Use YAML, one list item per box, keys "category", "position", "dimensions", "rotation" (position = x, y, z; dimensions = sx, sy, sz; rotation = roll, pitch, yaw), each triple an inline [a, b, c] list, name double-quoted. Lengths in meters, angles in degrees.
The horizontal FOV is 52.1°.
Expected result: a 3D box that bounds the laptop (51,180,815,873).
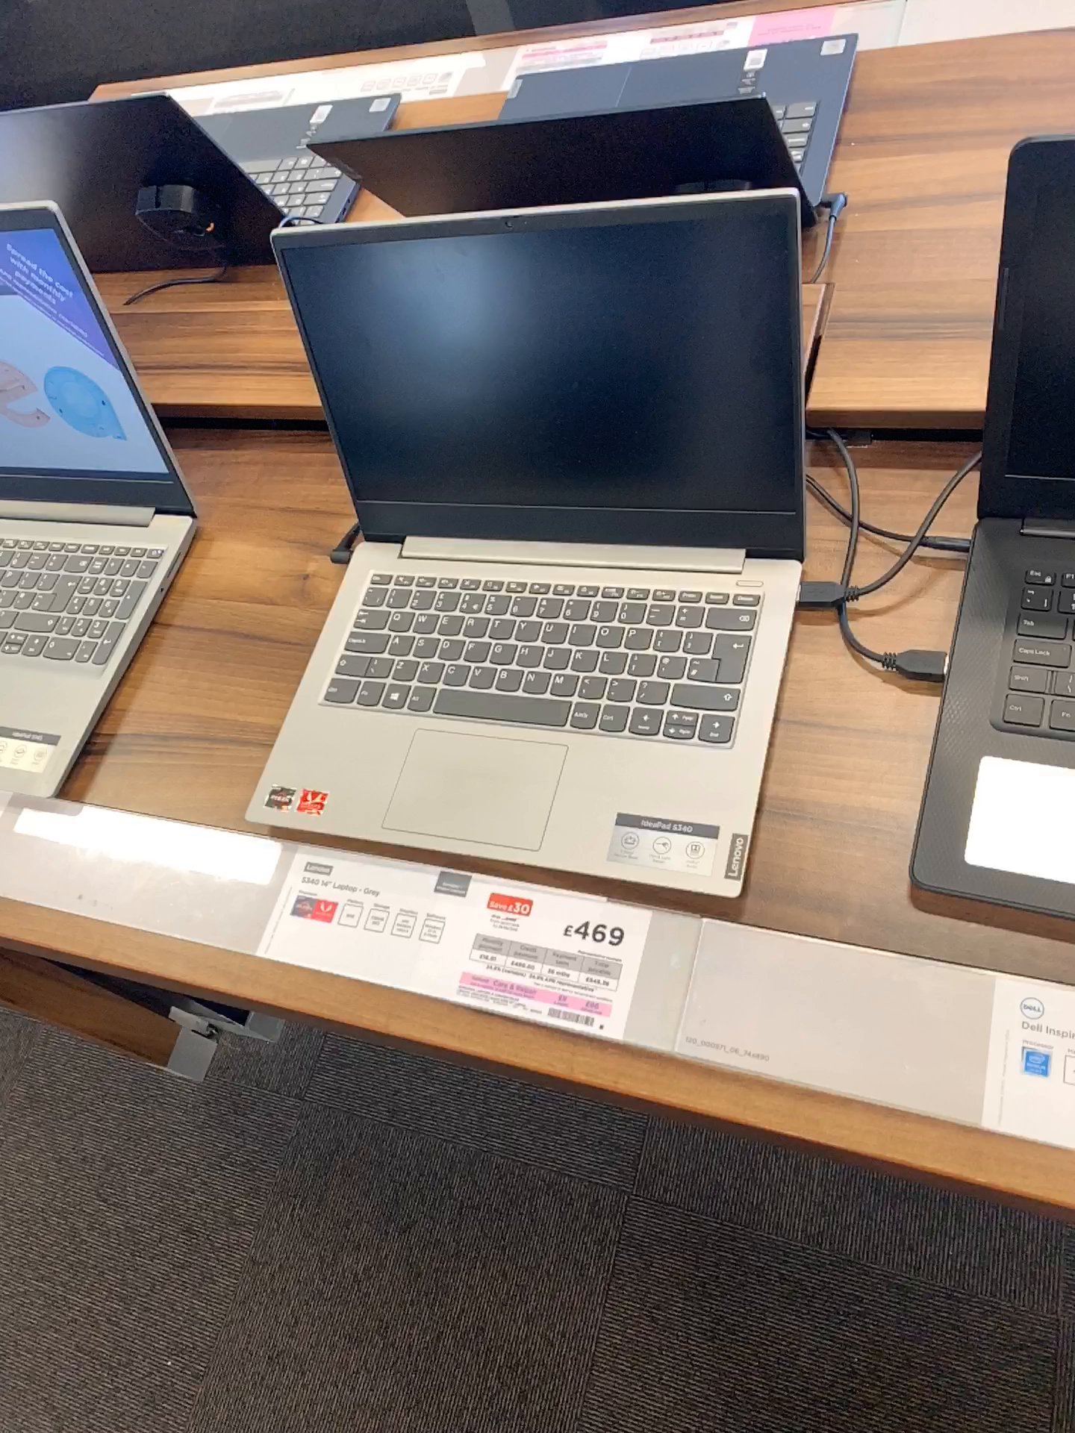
- category: "laptop"
  position: [-0.030, -0.112, 0.630]
  dimensions: [0.316, 0.200, 0.295]
  rotation: [7, 62, 22]
